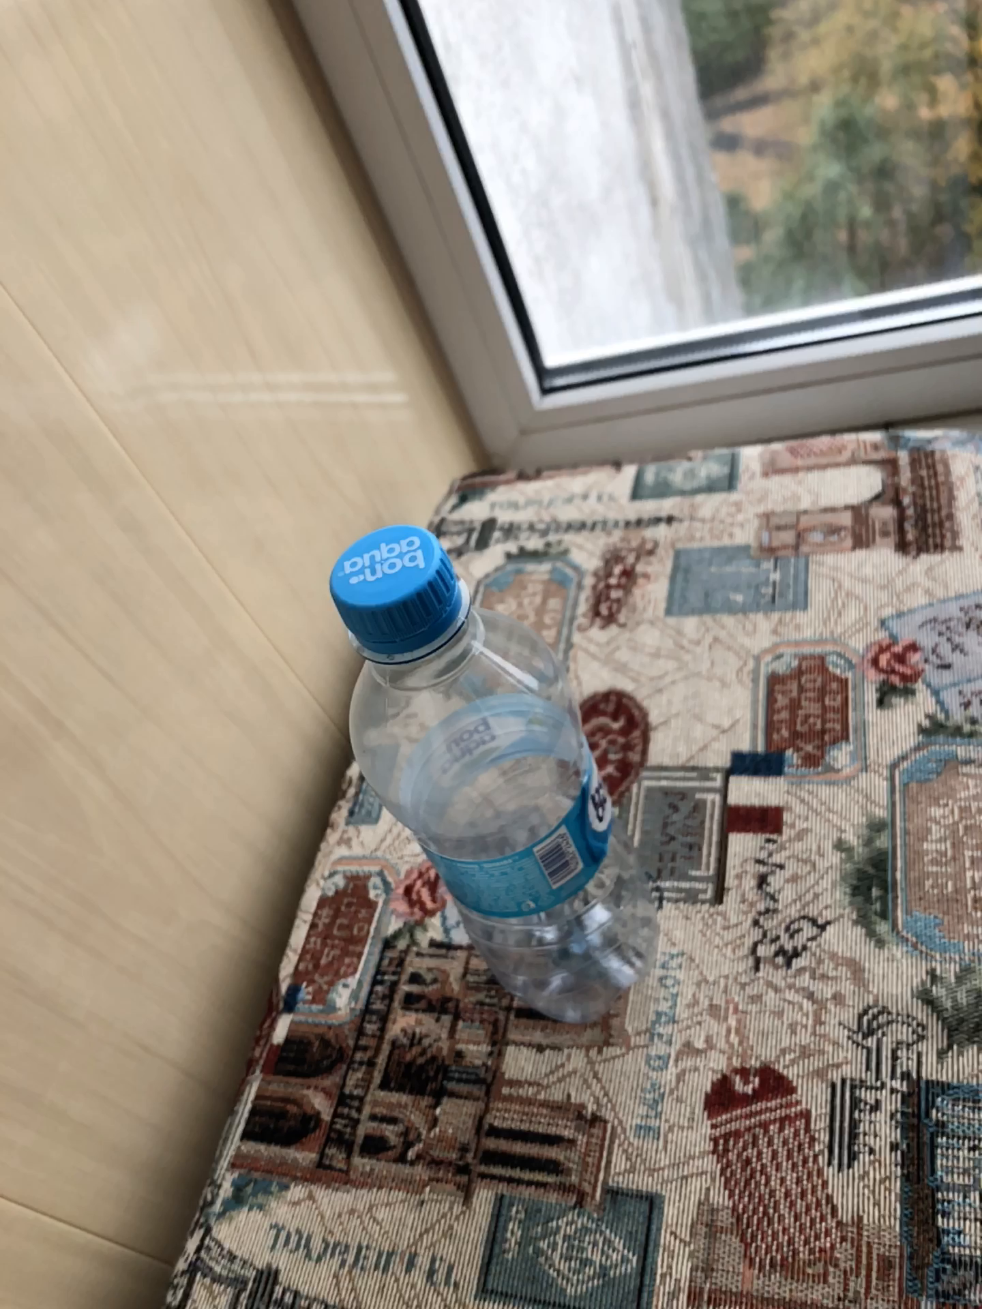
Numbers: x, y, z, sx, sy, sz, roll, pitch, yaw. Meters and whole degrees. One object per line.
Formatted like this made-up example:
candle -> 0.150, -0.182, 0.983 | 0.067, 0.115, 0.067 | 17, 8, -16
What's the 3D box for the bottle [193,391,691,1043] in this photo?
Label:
bottle -> 0.000, 0.036, 0.332 | 0.070, 0.209, 0.081 | -14, 48, 13
